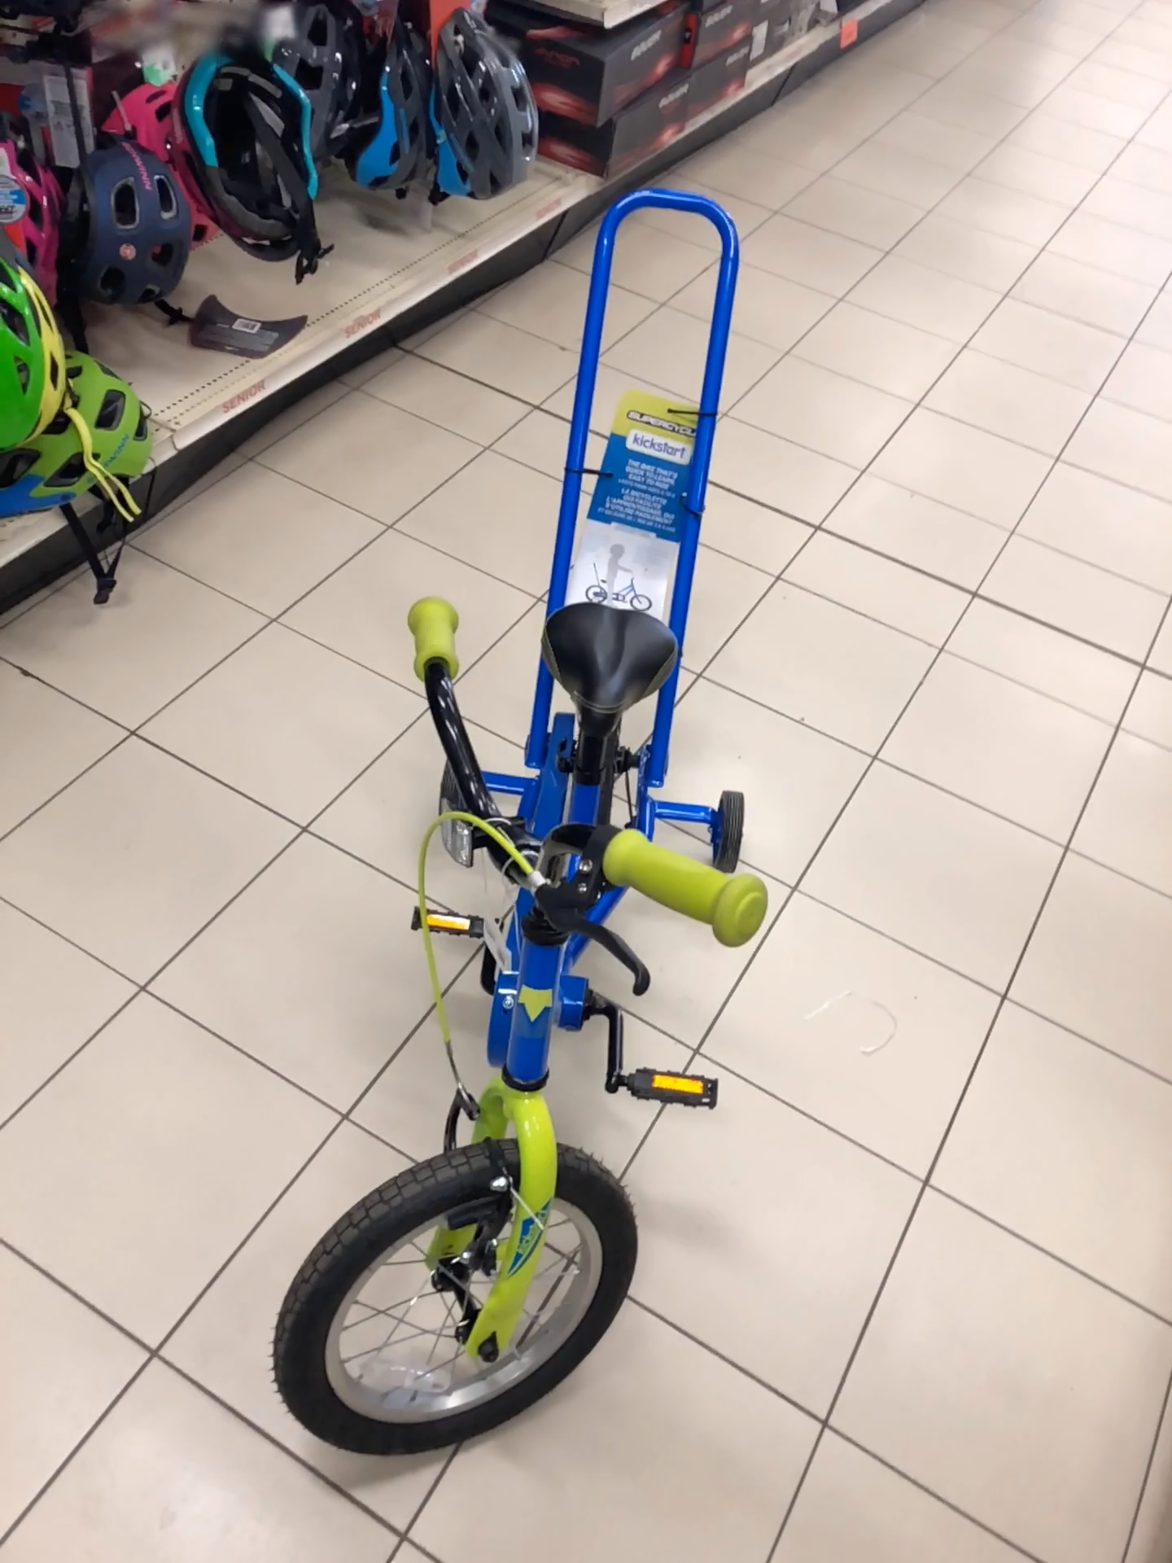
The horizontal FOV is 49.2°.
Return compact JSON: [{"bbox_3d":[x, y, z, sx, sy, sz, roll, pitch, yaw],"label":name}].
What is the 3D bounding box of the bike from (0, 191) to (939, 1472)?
[{"bbox_3d":[-0.111,0.015,1.245,0.538,0.763,0.957,18,46,7],"label":"bike"}]
